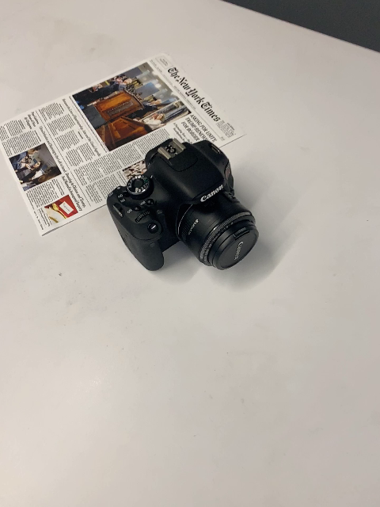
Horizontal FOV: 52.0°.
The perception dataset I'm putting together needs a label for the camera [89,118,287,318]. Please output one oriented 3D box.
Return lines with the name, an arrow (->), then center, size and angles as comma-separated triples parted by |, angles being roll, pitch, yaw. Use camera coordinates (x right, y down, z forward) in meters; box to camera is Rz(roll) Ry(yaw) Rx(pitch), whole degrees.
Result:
camera -> -0.001, -0.042, 0.440 | 0.146, 0.100, 0.143 | -37, 63, -14
